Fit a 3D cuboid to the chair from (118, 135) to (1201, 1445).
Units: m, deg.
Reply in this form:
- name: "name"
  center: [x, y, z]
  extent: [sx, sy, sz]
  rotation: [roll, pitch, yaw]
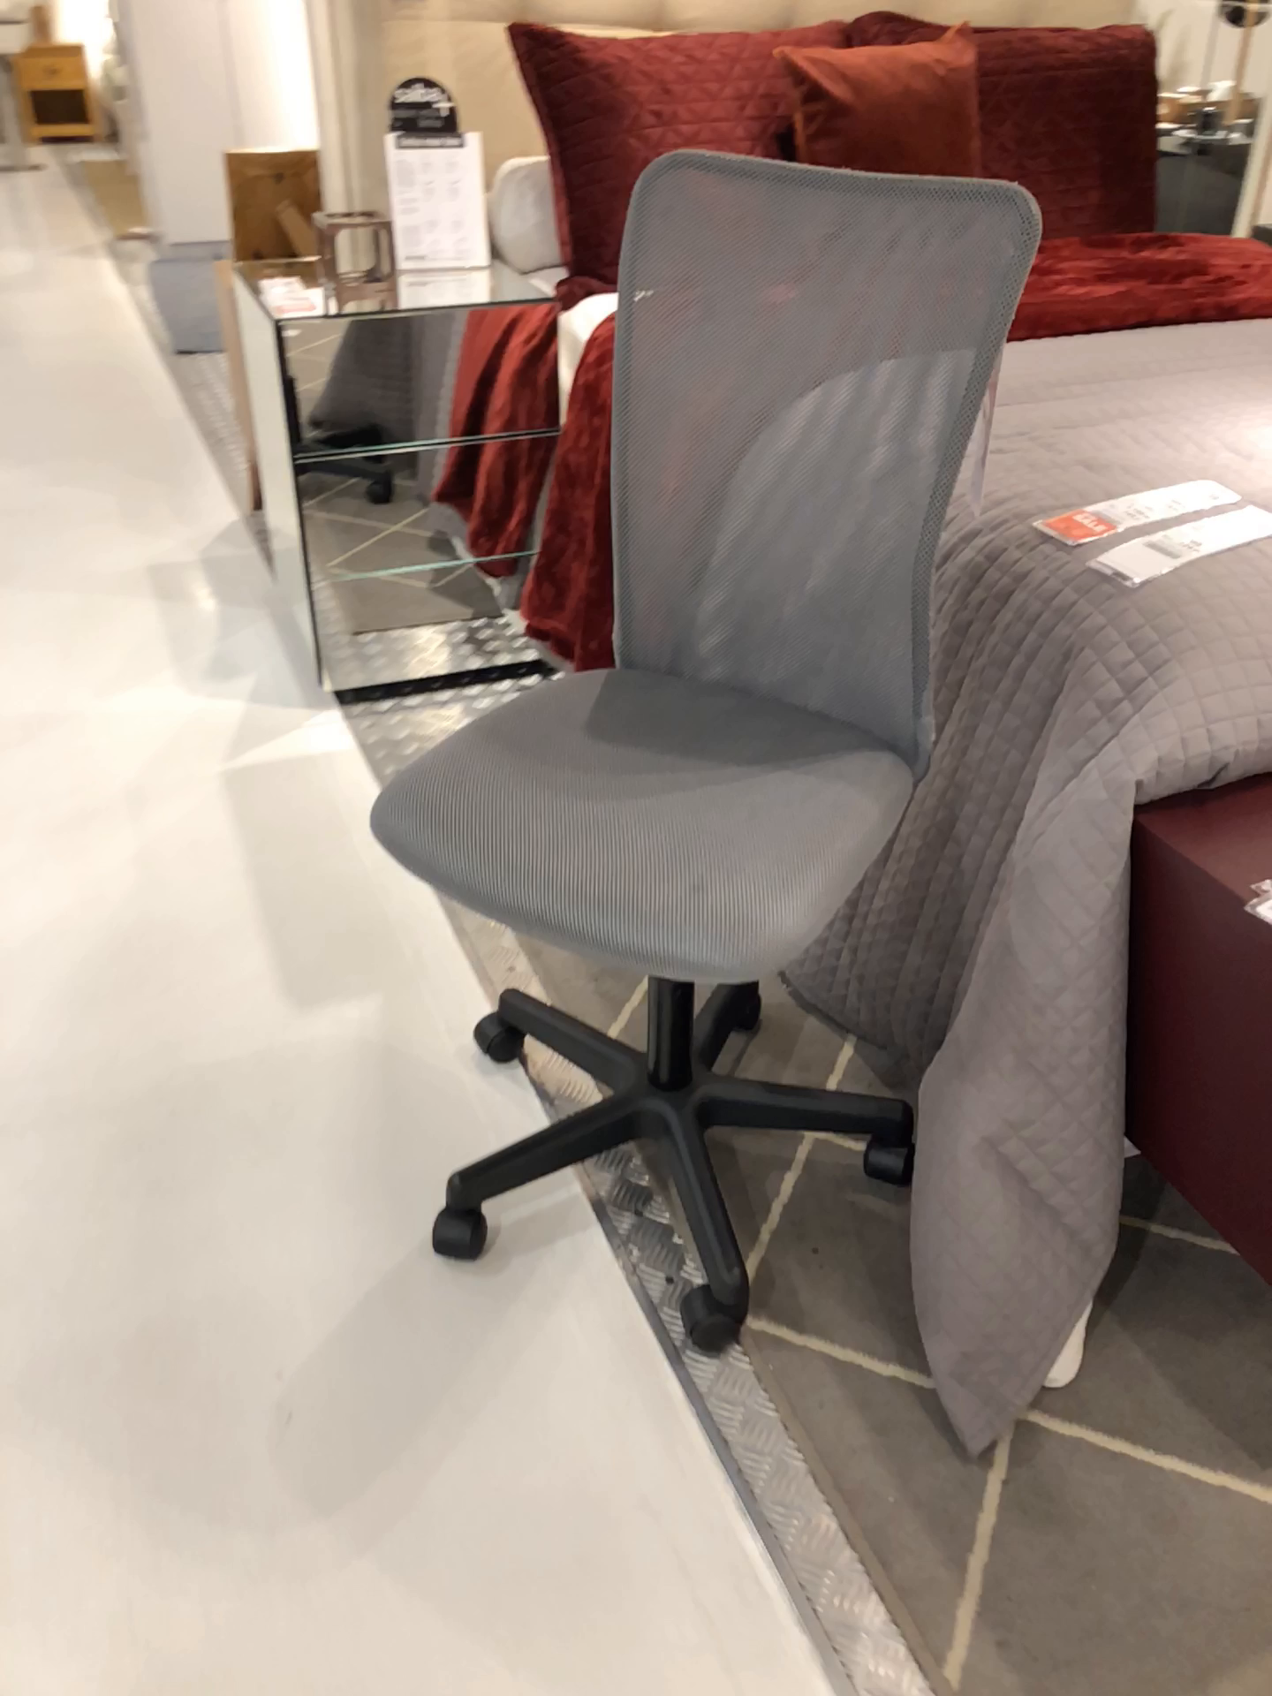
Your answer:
- name: "chair"
  center: [0.039, -0.106, 1.332]
  extent: [0.562, 0.943, 0.643]
  rotation: [24, 40, 33]
